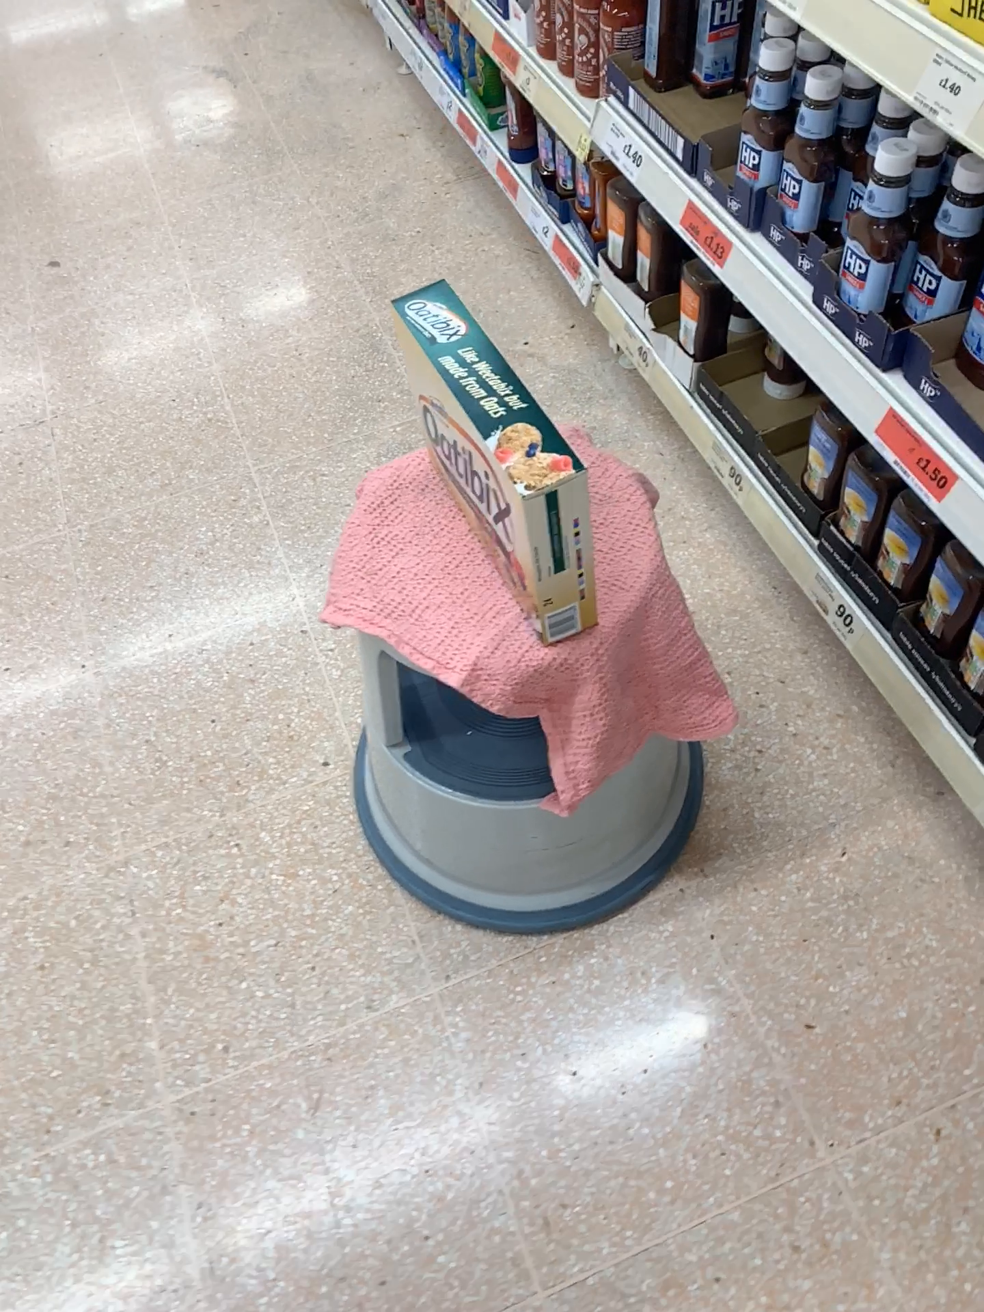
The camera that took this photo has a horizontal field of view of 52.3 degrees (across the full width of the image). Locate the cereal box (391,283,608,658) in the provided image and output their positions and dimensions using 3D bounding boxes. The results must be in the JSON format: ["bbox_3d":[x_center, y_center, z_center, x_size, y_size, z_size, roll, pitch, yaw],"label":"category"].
[{"bbox_3d":[0.007,-0.162,0.867,0.060,0.189,0.272,-24,55,-7],"label":"cereal box"}]
